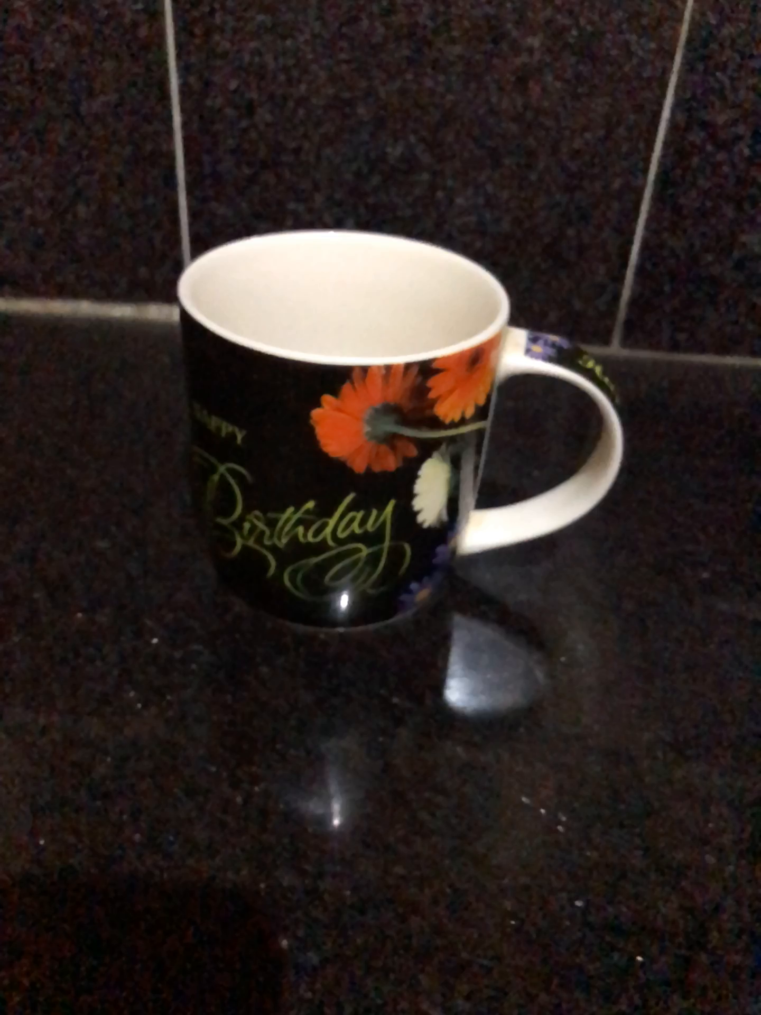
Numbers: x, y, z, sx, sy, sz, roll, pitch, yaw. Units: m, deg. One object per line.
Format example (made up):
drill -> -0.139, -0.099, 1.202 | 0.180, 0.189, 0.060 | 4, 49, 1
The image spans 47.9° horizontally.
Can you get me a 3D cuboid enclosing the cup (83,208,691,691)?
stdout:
cup -> 0.002, -0.020, 0.245 | 0.130, 0.089, 0.091 | 6, 36, 3
